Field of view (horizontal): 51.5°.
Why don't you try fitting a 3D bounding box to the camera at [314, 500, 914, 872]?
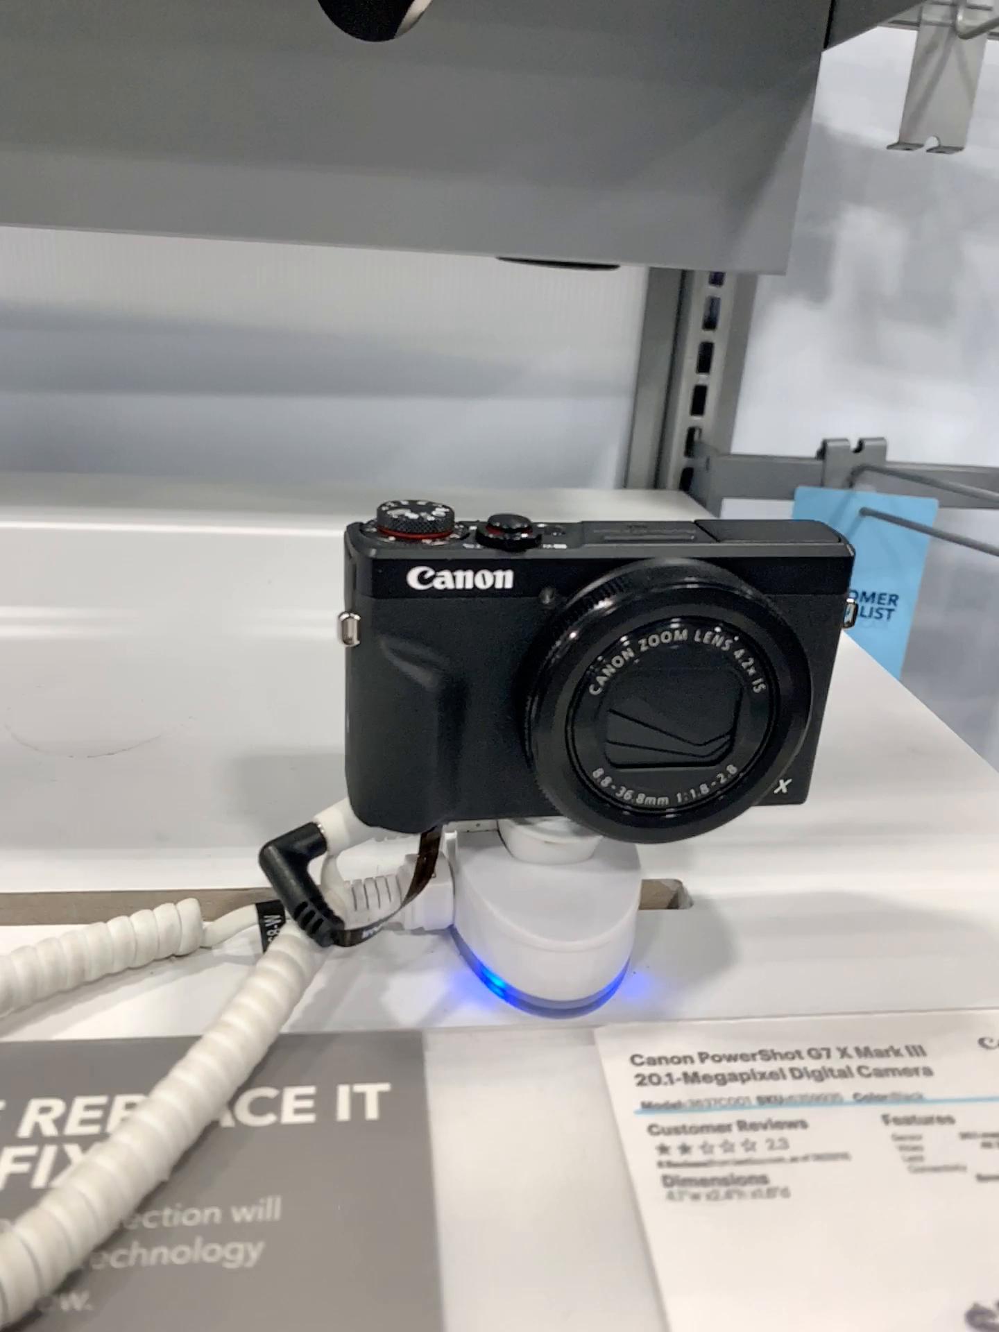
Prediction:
[{"bbox_3d":[0.018,0.002,0.214,0.110,0.062,0.040,0,23,-12],"label":"camera"}]
